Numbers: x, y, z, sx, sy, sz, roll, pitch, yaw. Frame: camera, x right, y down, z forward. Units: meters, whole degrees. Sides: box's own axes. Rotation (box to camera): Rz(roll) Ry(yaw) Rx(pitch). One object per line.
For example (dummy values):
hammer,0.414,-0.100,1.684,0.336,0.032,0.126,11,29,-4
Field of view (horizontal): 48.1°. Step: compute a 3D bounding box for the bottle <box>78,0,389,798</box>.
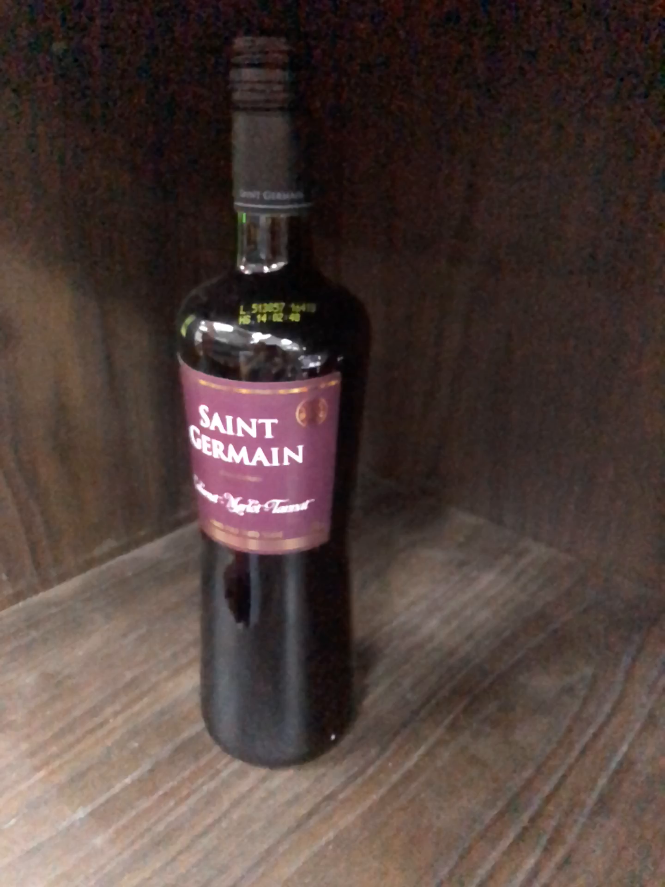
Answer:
bottle,-0.028,-0.003,0.303,0.080,0.308,0.070,6,25,12
